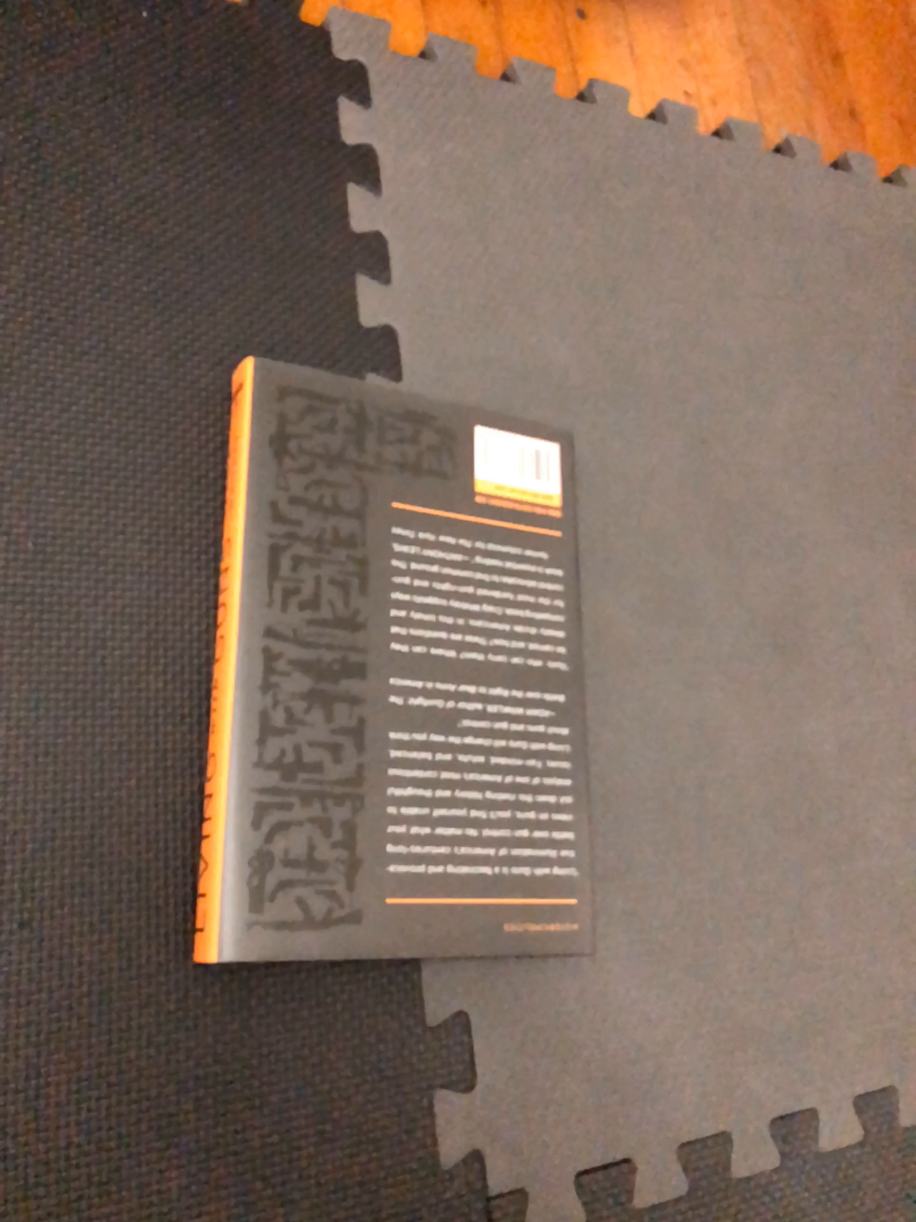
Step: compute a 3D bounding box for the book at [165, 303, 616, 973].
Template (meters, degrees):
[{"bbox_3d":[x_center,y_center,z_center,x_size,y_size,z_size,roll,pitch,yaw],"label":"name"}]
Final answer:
[{"bbox_3d":[-0.022,0.013,0.433,0.170,0.040,0.260,8,70,-24],"label":"book"}]
